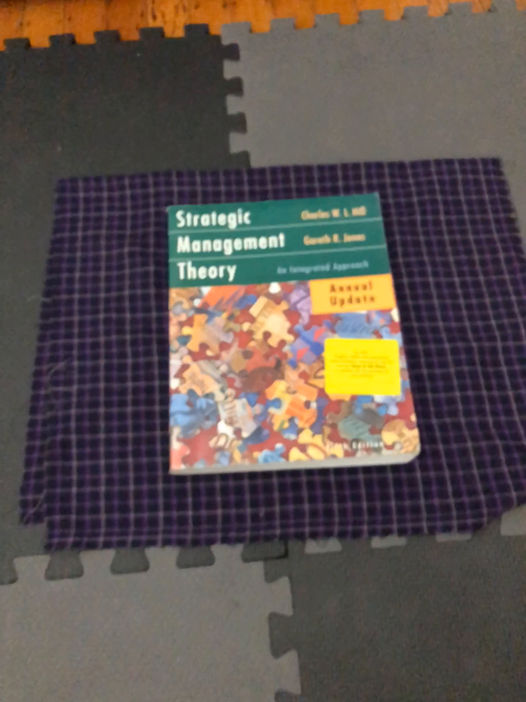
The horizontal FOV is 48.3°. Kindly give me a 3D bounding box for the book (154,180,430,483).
[{"bbox_3d":[0.017,-0.026,0.555,0.230,0.040,0.281,-3,70,0],"label":"book"}]
